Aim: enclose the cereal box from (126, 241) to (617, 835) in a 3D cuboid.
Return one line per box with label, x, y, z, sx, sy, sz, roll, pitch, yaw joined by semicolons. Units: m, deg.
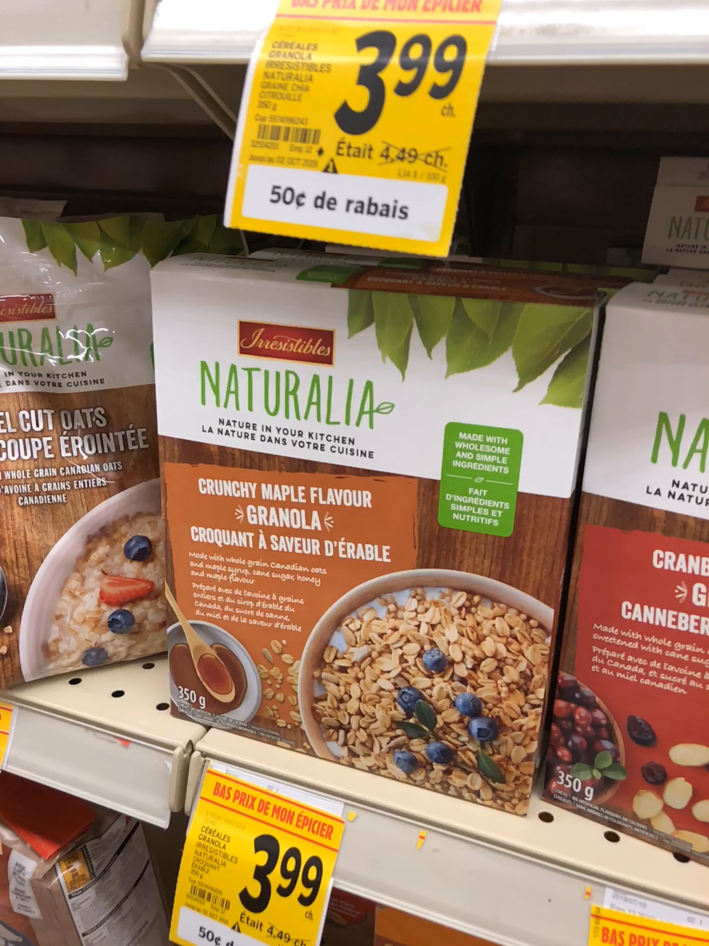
cereal box;0.001;0.021;0.318;0.170;0.209;0.050;9;21;19
